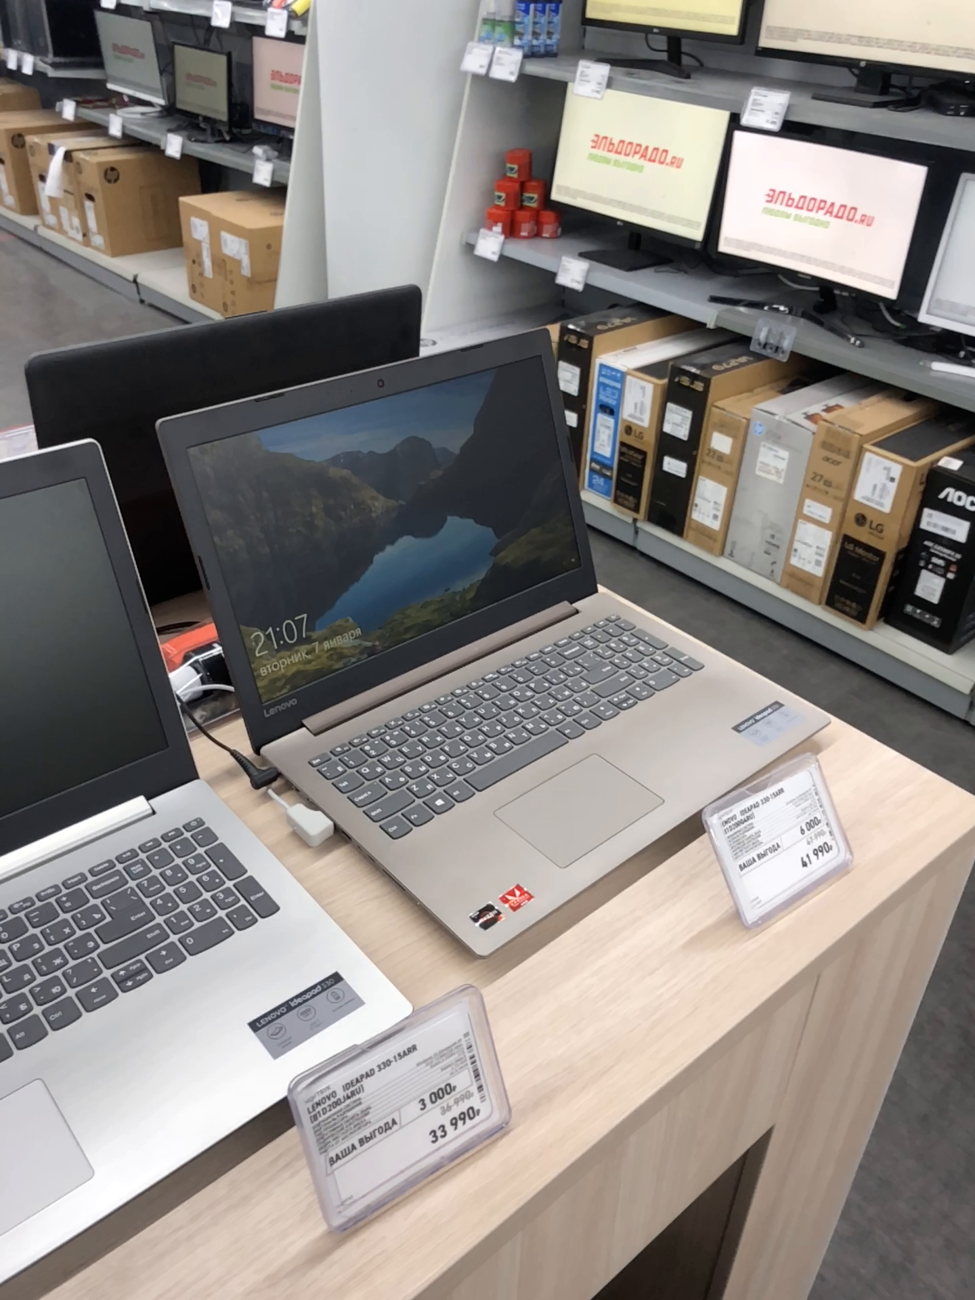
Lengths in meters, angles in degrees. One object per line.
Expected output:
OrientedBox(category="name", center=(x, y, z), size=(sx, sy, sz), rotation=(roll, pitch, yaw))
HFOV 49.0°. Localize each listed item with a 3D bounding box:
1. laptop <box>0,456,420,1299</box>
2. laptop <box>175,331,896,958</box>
OrientedBox(category="laptop", center=(-0.275, 0.089, 0.525), size=(0.343, 0.207, 0.323), rotation=(-24, 42, -36))
OrientedBox(category="laptop", center=(0.027, -0.046, 0.763), size=(0.351, 0.209, 0.329), rotation=(-25, 43, -34))
